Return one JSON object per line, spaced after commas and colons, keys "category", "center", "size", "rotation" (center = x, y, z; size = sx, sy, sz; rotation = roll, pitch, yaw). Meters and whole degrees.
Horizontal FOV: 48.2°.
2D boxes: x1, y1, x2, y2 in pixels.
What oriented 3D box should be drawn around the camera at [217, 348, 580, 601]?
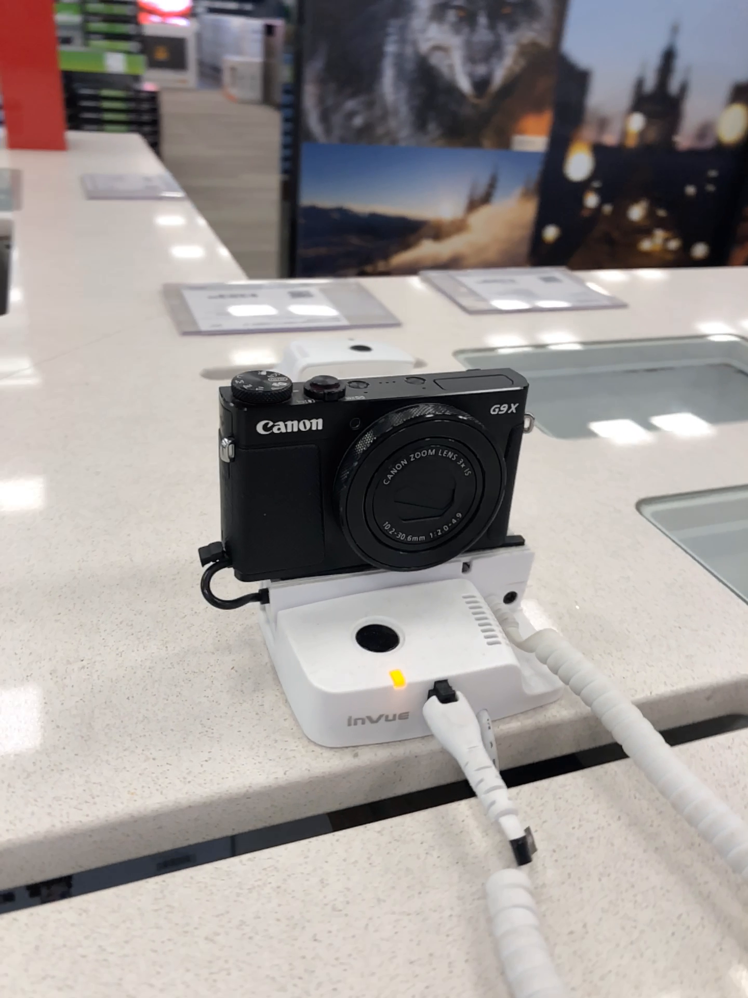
{"category": "camera", "center": [0.006, -0.010, 0.253], "size": [0.100, 0.060, 0.030], "rotation": [-6, 31, -19]}
